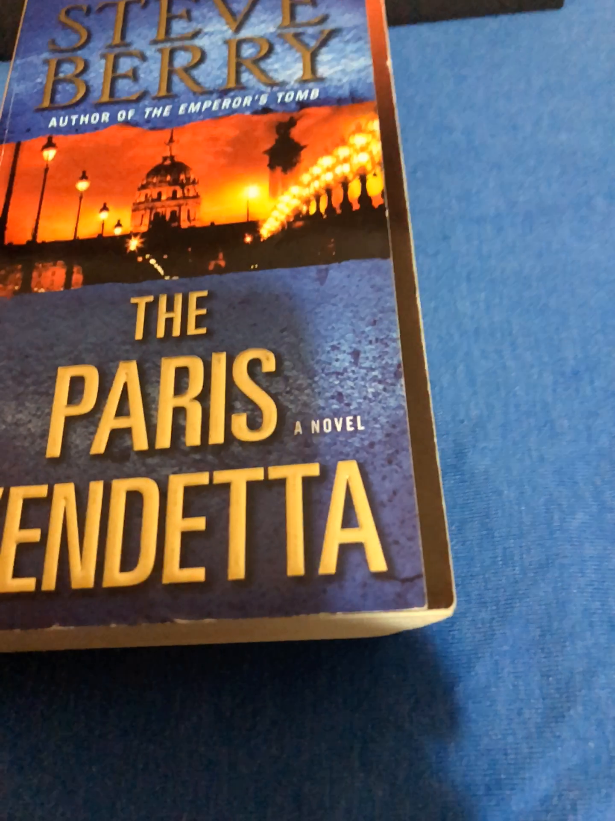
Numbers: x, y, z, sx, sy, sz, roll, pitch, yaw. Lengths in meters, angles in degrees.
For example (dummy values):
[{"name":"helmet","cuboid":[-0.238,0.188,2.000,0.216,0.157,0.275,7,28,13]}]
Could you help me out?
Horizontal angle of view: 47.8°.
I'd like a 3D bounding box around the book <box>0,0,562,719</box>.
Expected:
[{"name":"book","cuboid":[-0.024,-0.035,0.175,0.120,0.050,0.200,-2,63,-1]}]
